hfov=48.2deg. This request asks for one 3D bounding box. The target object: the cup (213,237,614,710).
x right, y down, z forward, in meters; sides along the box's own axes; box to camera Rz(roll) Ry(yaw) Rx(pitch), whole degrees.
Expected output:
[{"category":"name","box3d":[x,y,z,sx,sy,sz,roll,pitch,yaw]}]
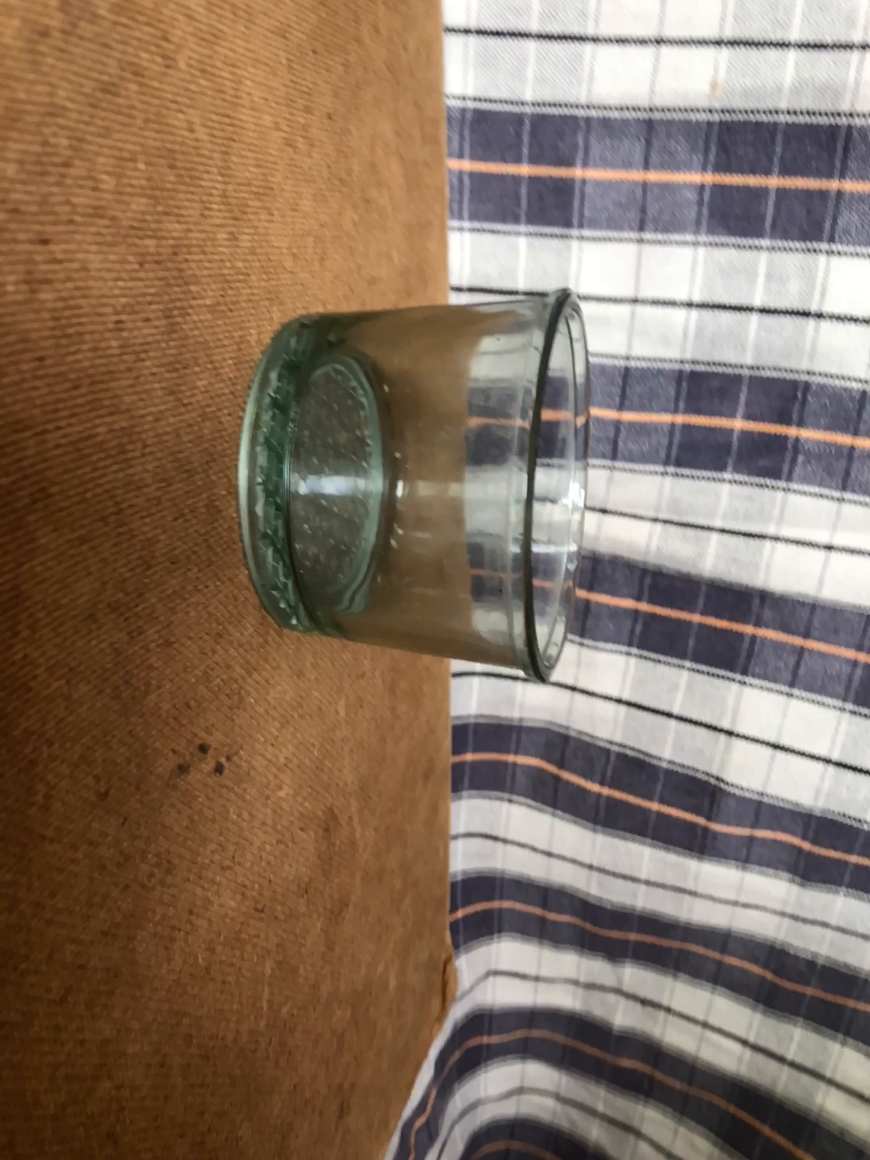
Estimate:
[{"category":"cup","box3d":[0.002,-0.017,0.207,0.070,0.060,0.080,36,59,-72]}]
